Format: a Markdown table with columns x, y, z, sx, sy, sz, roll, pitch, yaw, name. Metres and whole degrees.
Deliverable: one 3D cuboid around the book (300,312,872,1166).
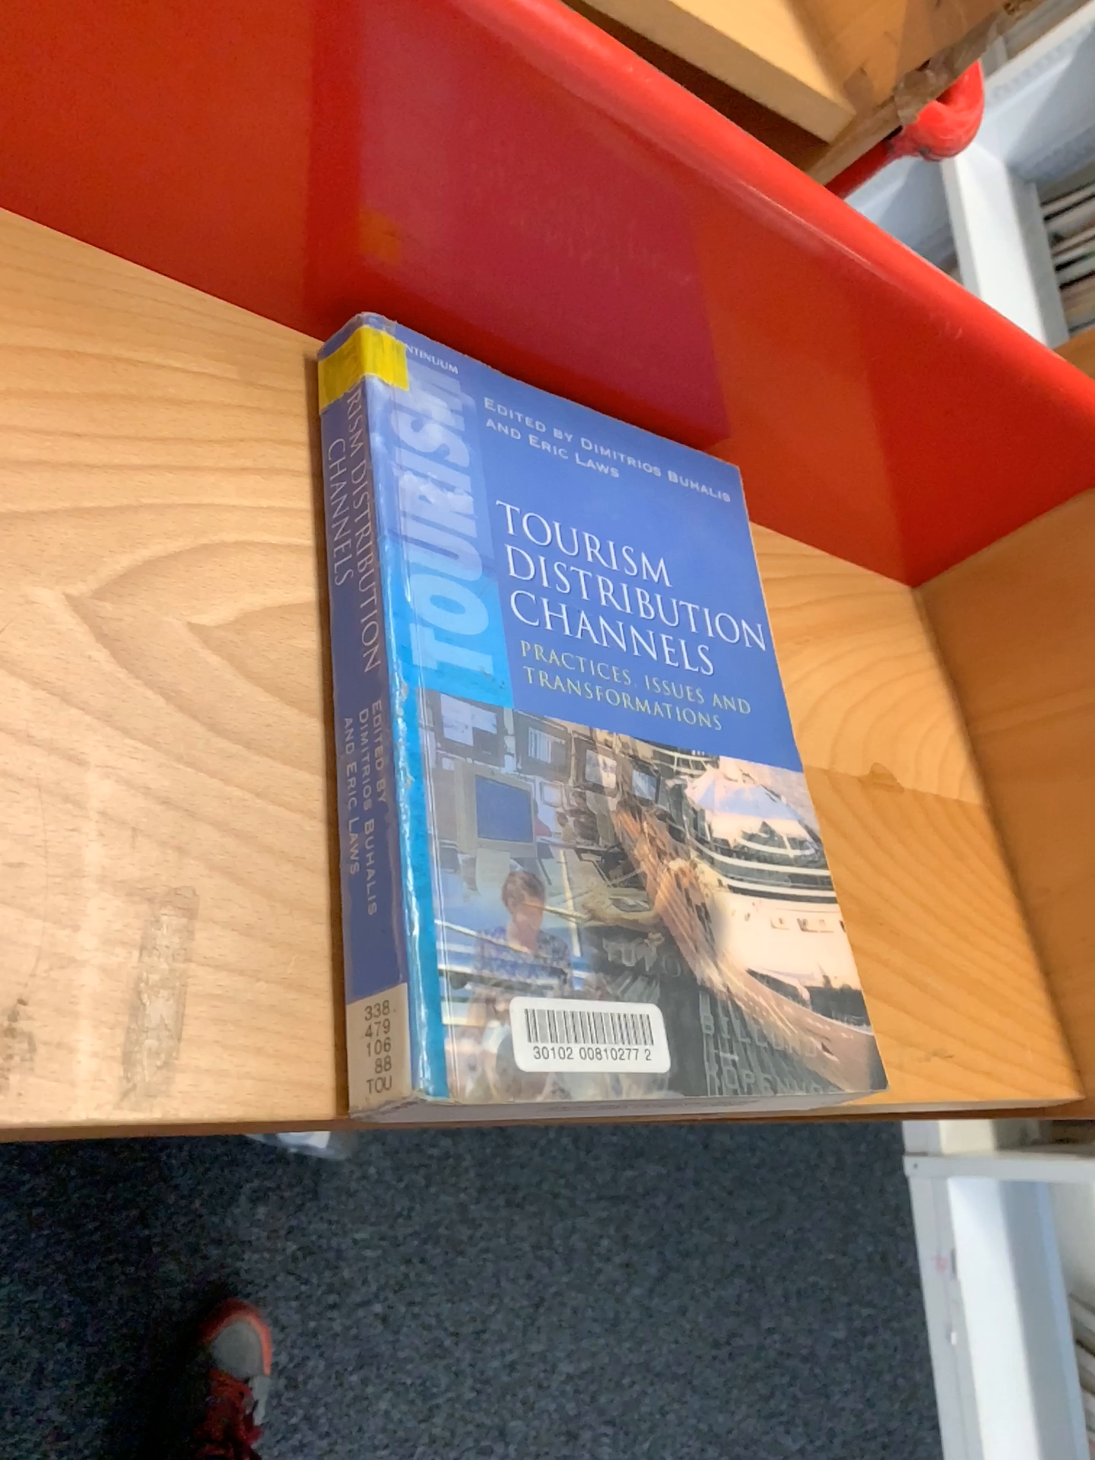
| x | y | z | sx | sy | sz | roll | pitch | yaw | name |
| --- | --- | --- | --- | --- | --- | --- | --- | --- | --- |
| 0.009 | 0.002 | 0.348 | 0.168 | 0.030 | 0.239 | 14 | 58 | -36 | book |
